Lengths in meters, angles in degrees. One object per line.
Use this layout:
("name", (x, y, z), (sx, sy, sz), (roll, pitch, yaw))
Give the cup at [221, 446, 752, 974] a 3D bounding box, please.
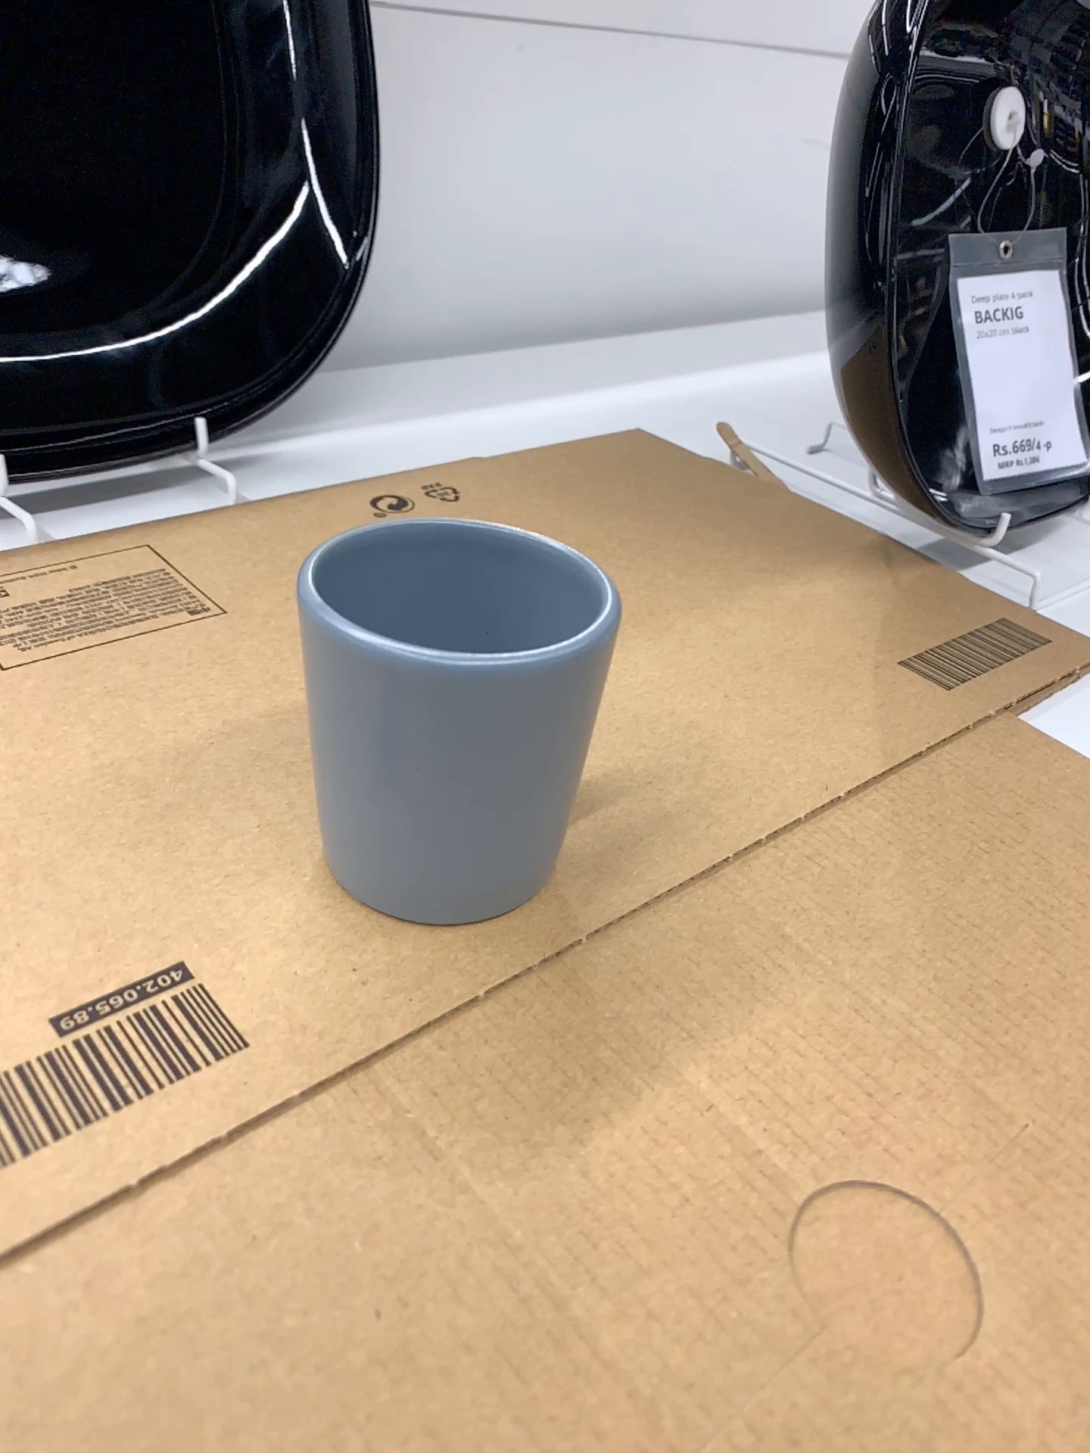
("cup", (-0.010, -0.010, 0.220), (0.060, 0.060, 0.080), (24, 36, 27))
